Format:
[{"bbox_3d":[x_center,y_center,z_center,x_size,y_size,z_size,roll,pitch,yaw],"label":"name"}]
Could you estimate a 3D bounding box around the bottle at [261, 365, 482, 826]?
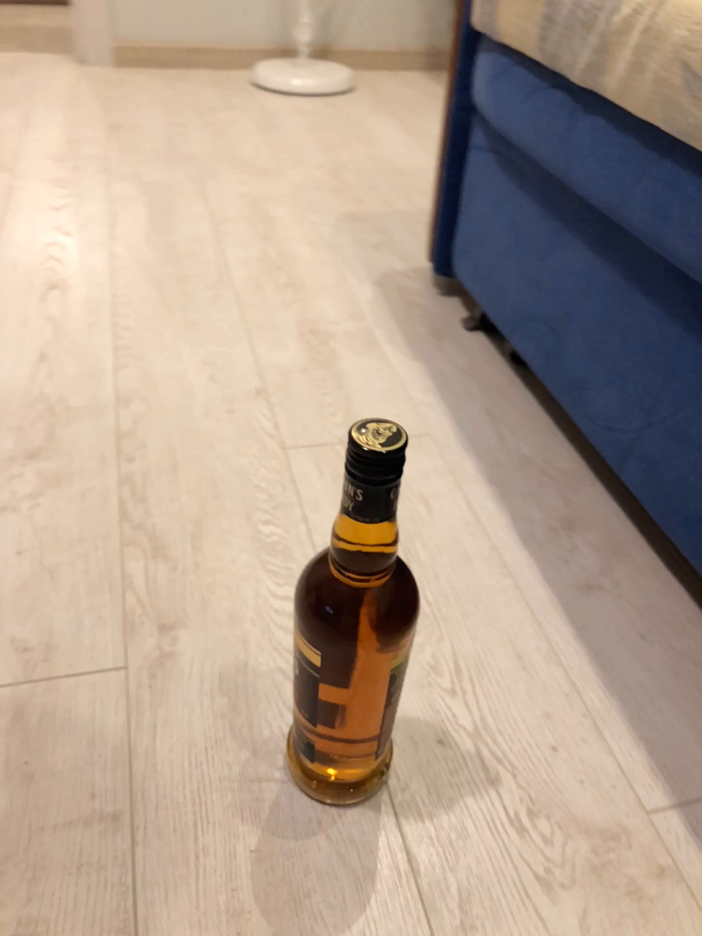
[{"bbox_3d":[0.004,0.082,0.433,0.080,0.257,0.081,3,37,-3],"label":"bottle"}]
